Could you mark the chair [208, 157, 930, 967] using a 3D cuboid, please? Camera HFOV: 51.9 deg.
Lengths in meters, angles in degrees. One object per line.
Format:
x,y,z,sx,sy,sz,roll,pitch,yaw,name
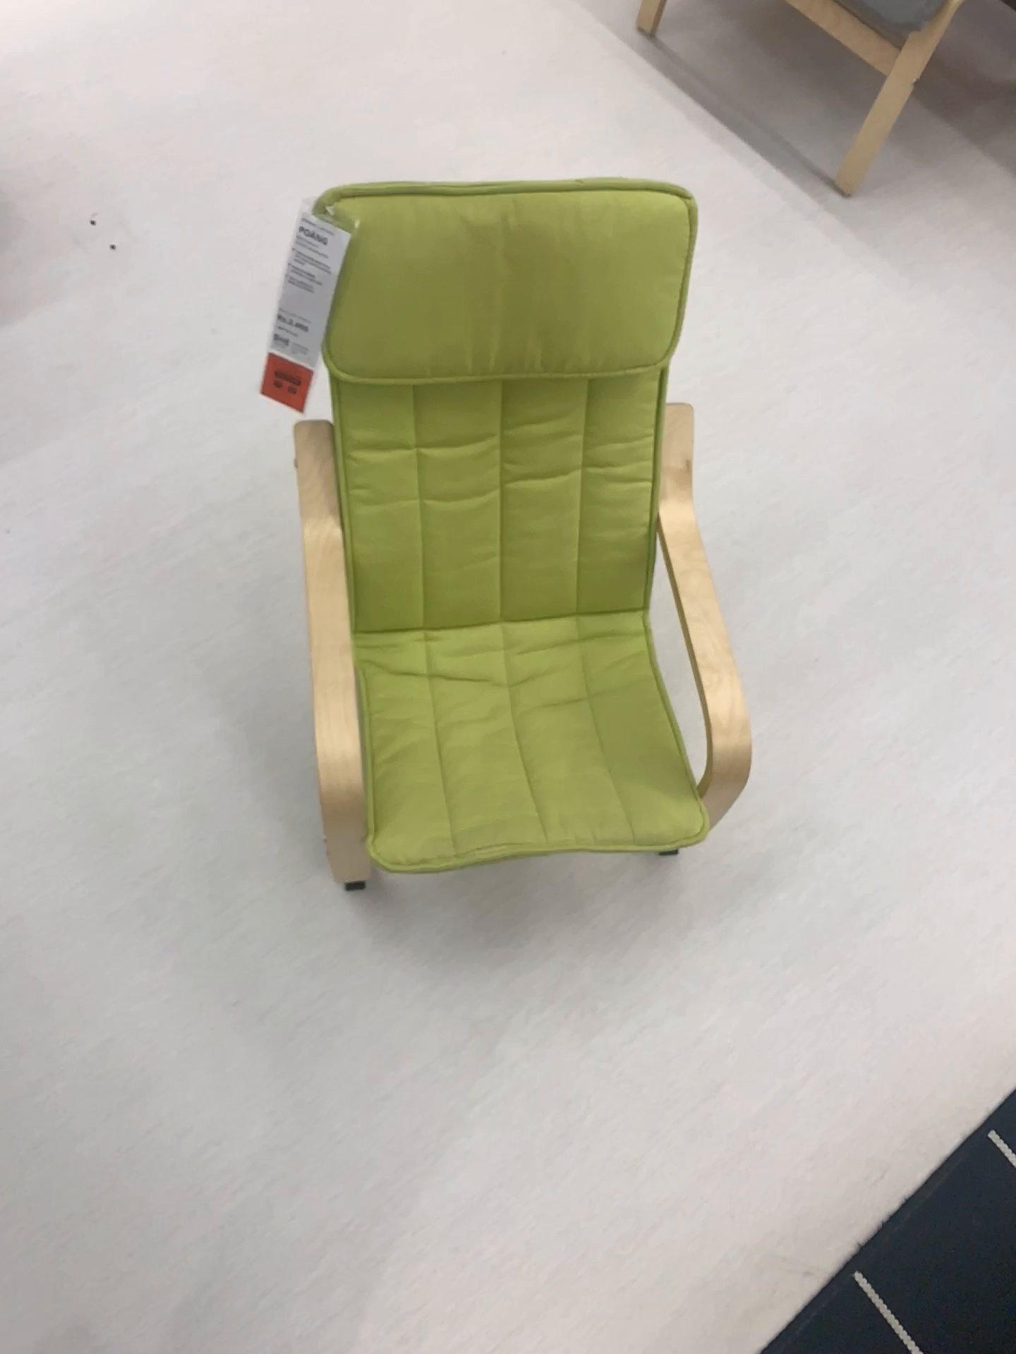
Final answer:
-0.015,-0.059,1.248,0.520,0.819,0.571,-6,64,-9,chair
